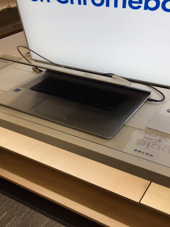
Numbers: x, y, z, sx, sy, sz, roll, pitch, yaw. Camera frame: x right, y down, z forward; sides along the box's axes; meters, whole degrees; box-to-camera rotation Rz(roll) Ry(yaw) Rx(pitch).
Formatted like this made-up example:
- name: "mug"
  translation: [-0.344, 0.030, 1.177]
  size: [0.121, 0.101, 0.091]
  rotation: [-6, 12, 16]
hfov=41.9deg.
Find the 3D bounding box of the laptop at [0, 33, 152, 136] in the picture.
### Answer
- name: "laptop"
  translation: [-0.057, -0.108, 0.657]
  size: [0.390, 0.158, 0.253]
  rotation: [18, 42, 21]
